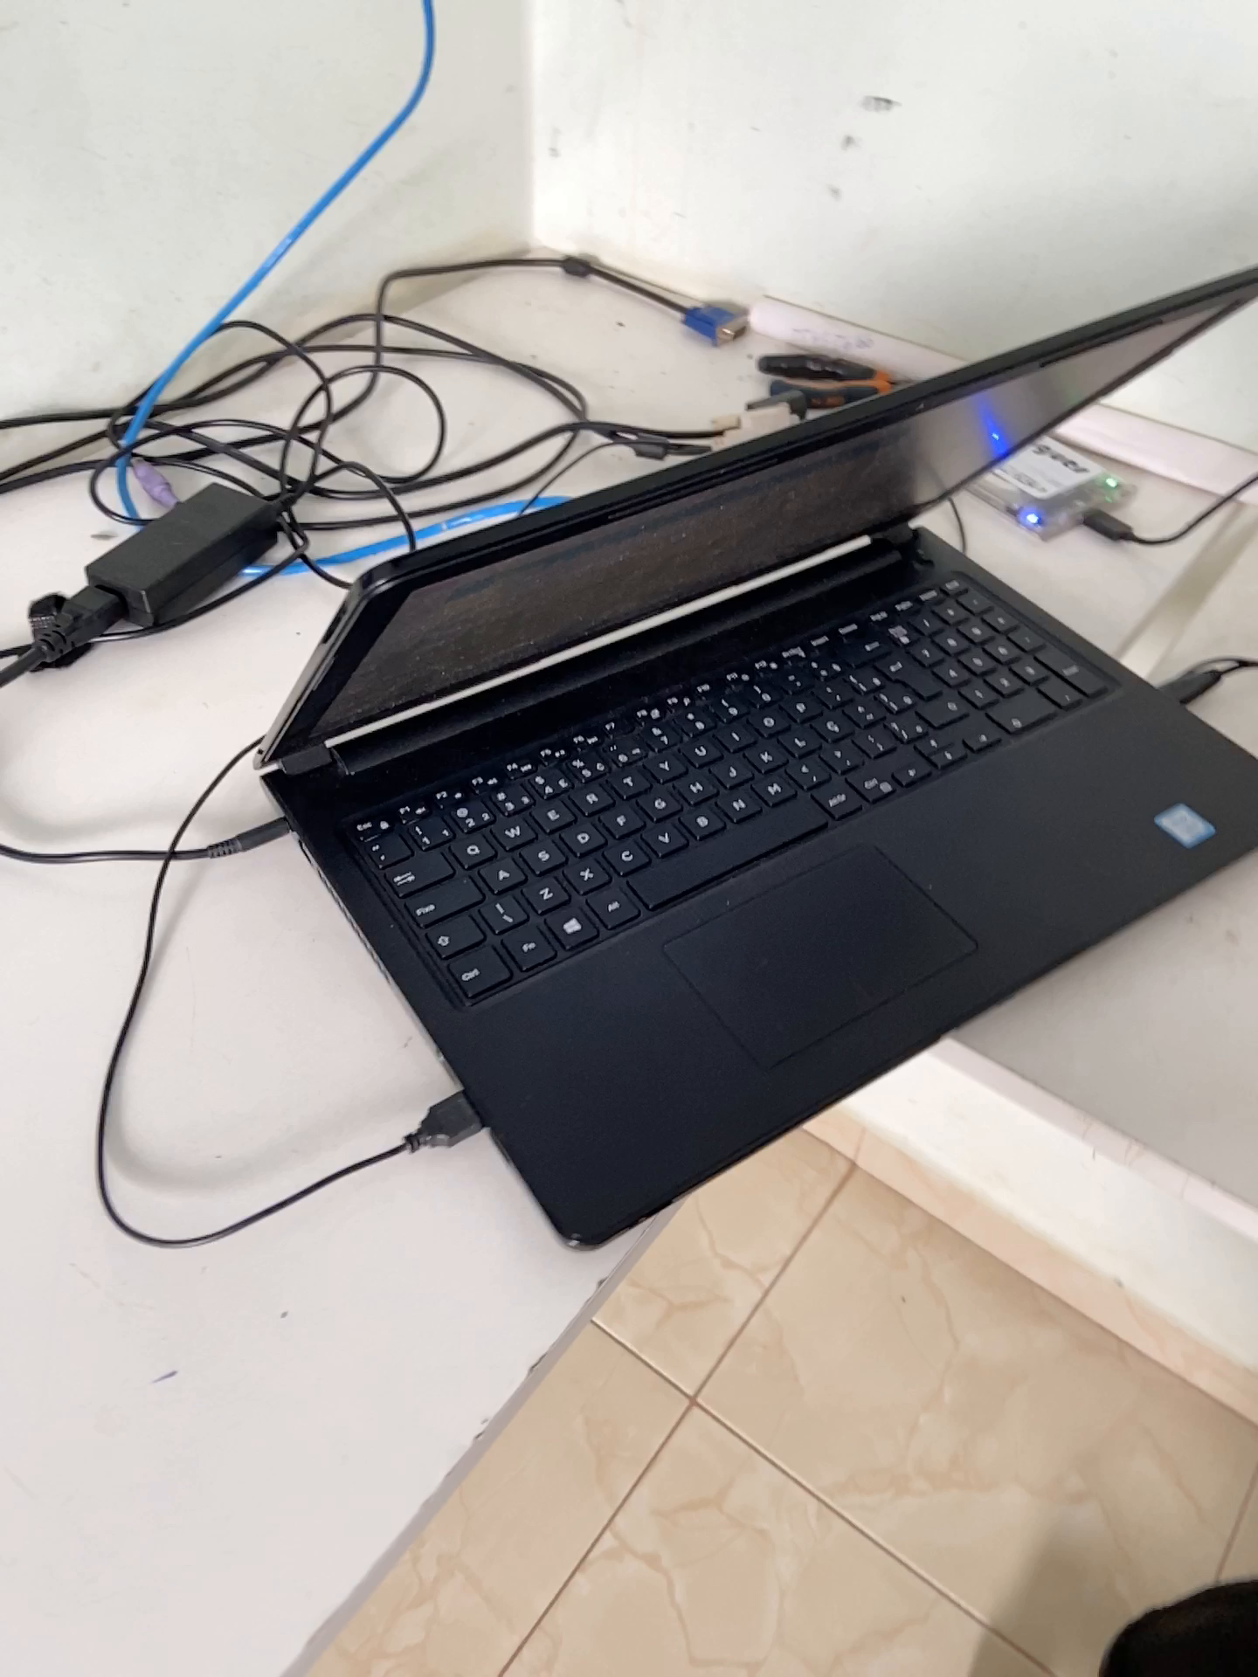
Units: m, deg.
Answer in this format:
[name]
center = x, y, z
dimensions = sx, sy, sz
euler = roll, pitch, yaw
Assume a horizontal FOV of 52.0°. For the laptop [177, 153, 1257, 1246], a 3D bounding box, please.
[laptop]
center = 0.073, -0.090, 0.488
dimensions = 0.373, 0.192, 0.256
euler = -24, 51, -25
